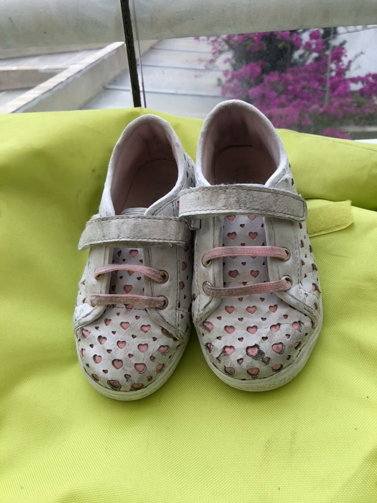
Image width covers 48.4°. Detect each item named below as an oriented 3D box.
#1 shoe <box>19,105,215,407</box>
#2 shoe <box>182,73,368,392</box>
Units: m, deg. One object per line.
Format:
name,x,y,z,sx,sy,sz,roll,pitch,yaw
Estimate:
shoe,-0.035,0.000,0.269,0.080,0.060,0.176,3,72,12
shoe,0.040,-0.013,0.246,0.080,0.060,0.177,-2,67,4
